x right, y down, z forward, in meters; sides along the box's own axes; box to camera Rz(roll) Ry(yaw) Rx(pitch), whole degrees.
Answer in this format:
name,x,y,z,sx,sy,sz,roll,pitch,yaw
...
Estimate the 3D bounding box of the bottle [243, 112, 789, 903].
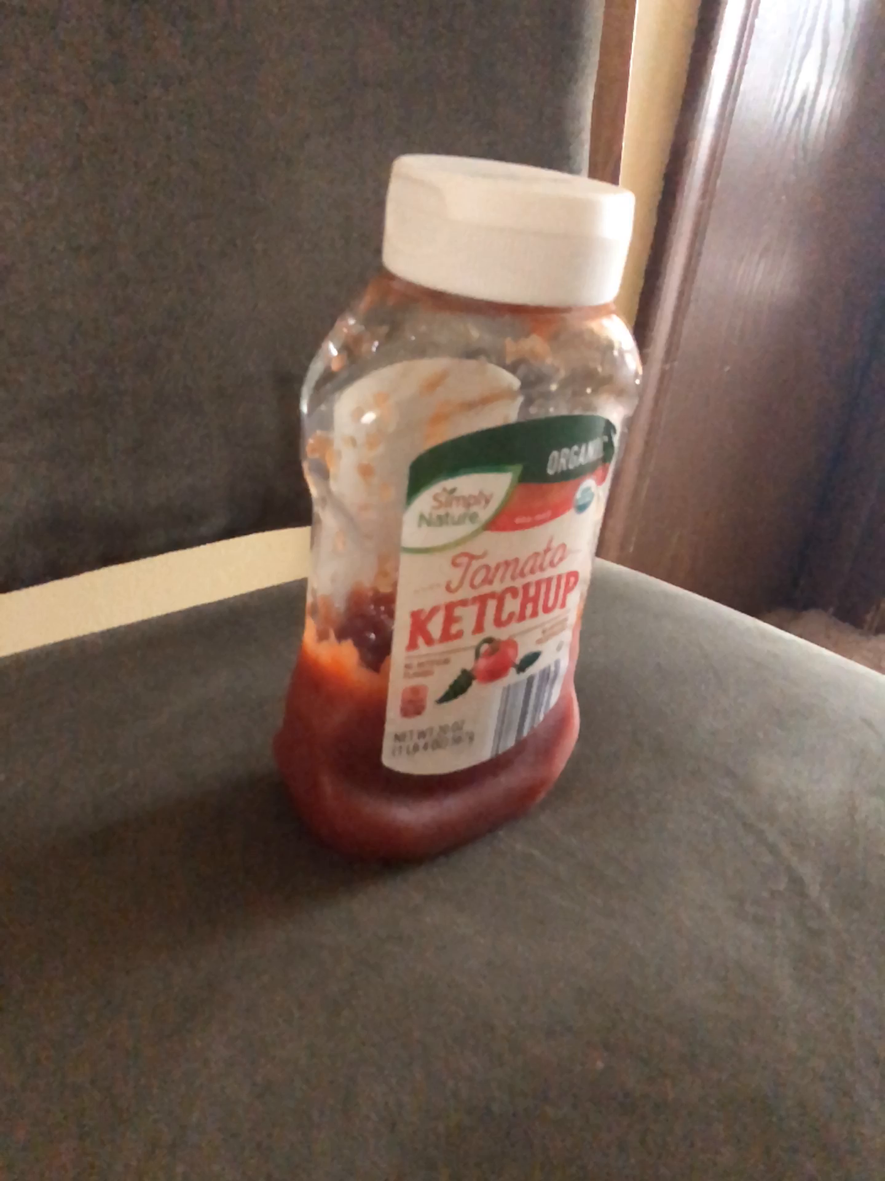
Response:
name,x,y,z,sx,sy,sz,roll,pitch,yaw
bottle,0.010,-0.021,0.248,0.100,0.170,0.060,-14,35,-34
